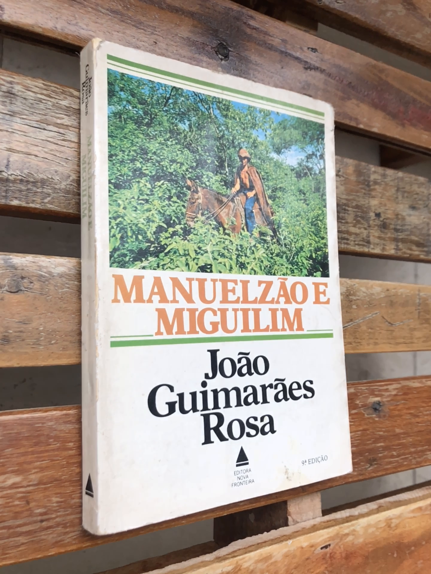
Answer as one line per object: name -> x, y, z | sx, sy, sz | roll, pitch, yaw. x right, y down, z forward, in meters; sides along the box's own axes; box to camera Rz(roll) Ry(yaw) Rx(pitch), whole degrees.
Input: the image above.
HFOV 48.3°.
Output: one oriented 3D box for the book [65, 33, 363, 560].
book -> 0.005, 0.000, 0.227 | 0.142, 0.020, 0.200 | 1, 84, -31
